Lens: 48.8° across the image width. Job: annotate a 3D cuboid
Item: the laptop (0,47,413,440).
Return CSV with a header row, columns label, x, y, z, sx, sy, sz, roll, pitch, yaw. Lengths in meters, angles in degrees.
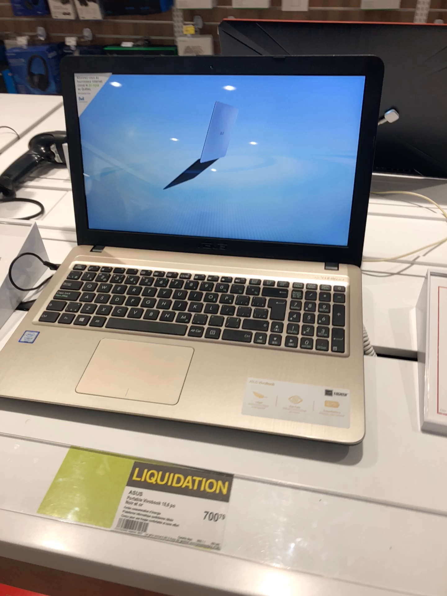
label,x,y,z,sx,sy,sz,roll,pitch,yaw
laptop,-0.033,-0.090,0.519,0.370,0.204,0.339,6,45,9
